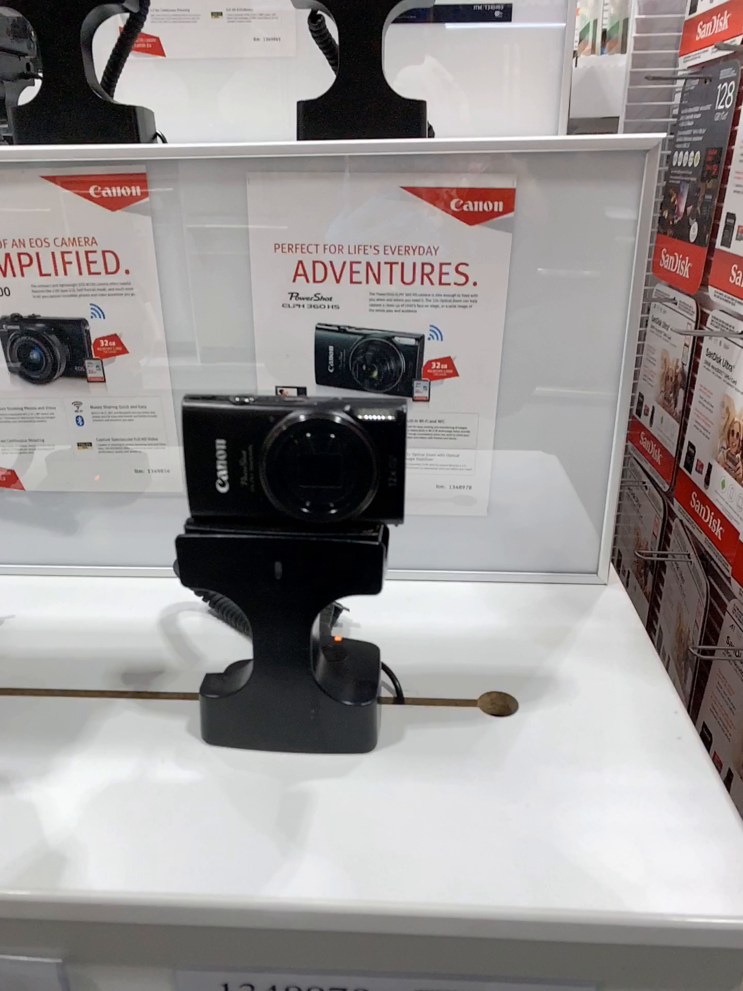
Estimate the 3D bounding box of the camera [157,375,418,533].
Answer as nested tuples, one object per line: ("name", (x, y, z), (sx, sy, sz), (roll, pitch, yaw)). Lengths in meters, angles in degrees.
("camera", (-0.035, -0.020, 0.349), (0.110, 0.060, 0.040), (2, 22, 5))
